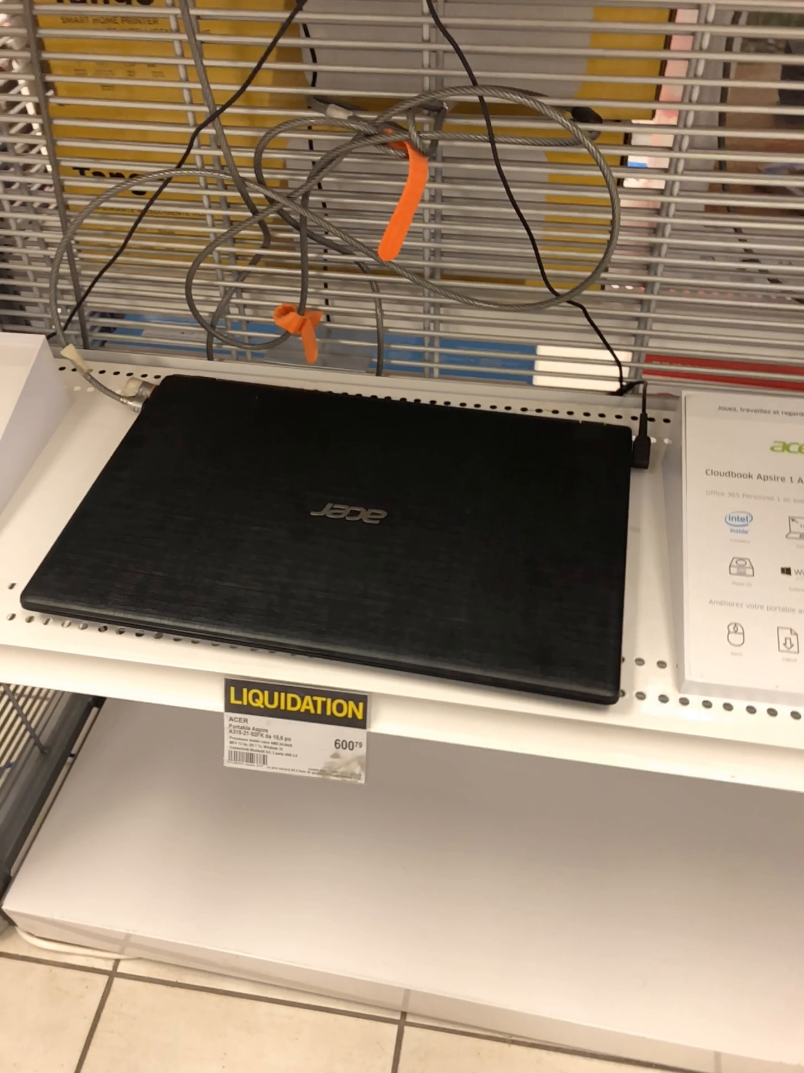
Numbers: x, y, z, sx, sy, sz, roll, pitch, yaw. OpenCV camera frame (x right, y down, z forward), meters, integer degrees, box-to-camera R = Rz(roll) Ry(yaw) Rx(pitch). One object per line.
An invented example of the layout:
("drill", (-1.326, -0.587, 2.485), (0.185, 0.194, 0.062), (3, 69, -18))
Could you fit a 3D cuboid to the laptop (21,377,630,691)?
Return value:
("laptop", (-0.034, -0.022, 0.629), (0.374, 0.003, 0.248), (8, 46, 9))
